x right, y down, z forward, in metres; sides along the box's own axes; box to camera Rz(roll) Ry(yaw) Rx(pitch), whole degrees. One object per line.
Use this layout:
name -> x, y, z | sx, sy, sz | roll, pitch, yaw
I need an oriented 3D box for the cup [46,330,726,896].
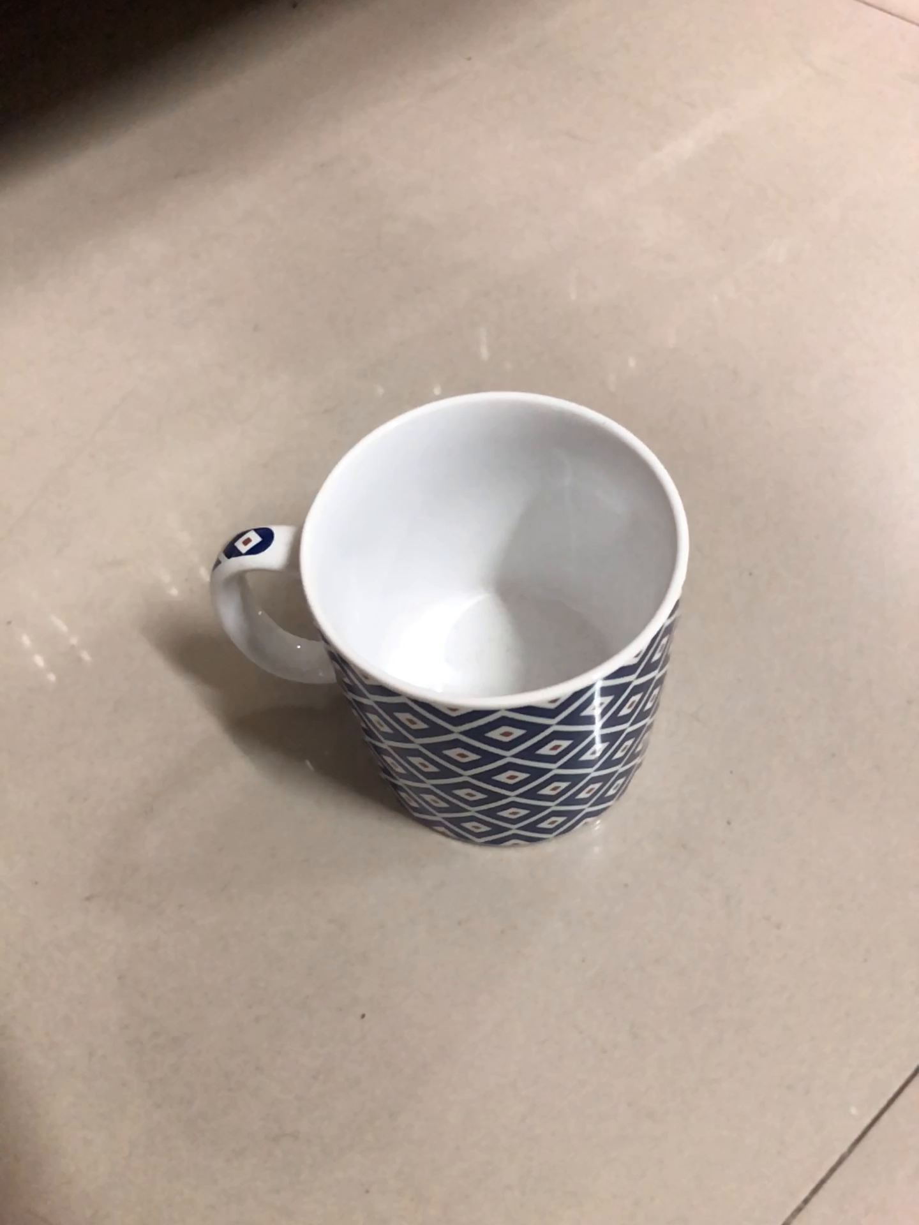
cup -> -0.006, 0.001, 0.220 | 0.110, 0.080, 0.080 | 6, 57, 9
